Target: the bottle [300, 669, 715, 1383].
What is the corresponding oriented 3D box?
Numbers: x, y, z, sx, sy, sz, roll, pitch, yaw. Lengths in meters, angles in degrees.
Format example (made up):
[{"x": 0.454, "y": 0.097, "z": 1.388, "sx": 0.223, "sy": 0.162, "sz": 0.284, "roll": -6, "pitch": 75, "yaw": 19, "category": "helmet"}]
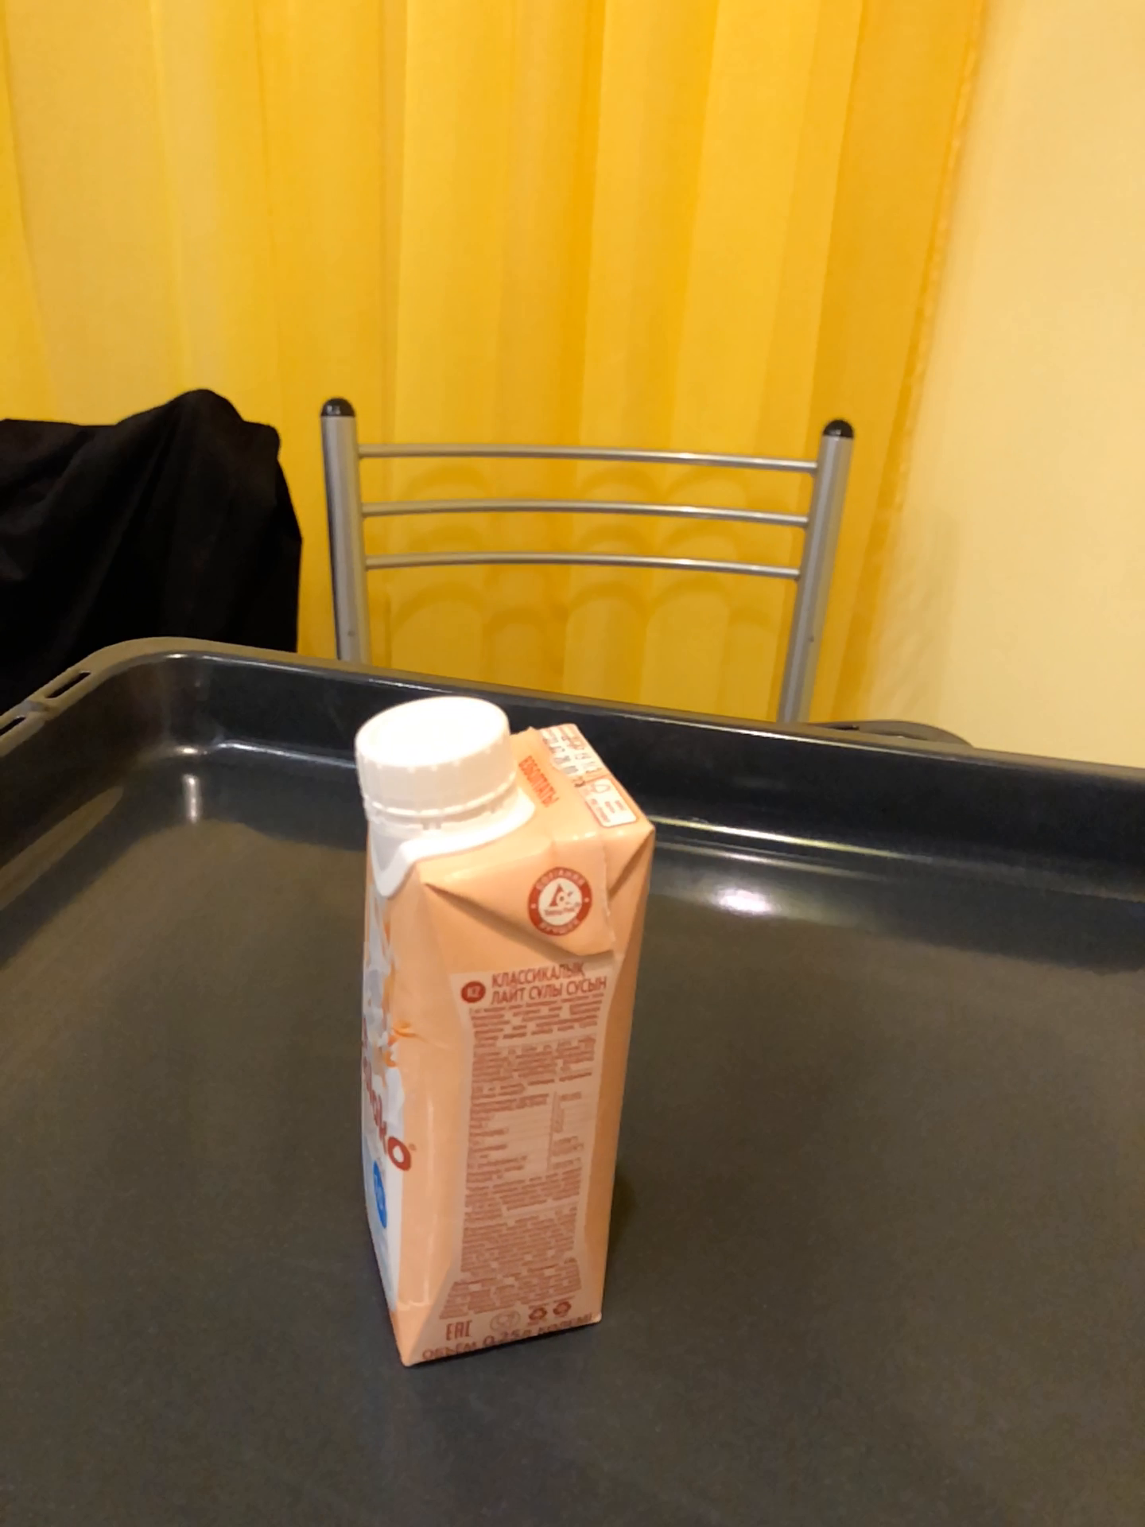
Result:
[{"x": -0.019, "y": 0.050, "z": 0.251, "sx": 0.060, "sy": 0.119, "sz": 0.060, "roll": 4, "pitch": 26, "yaw": -2, "category": "bottle"}]
